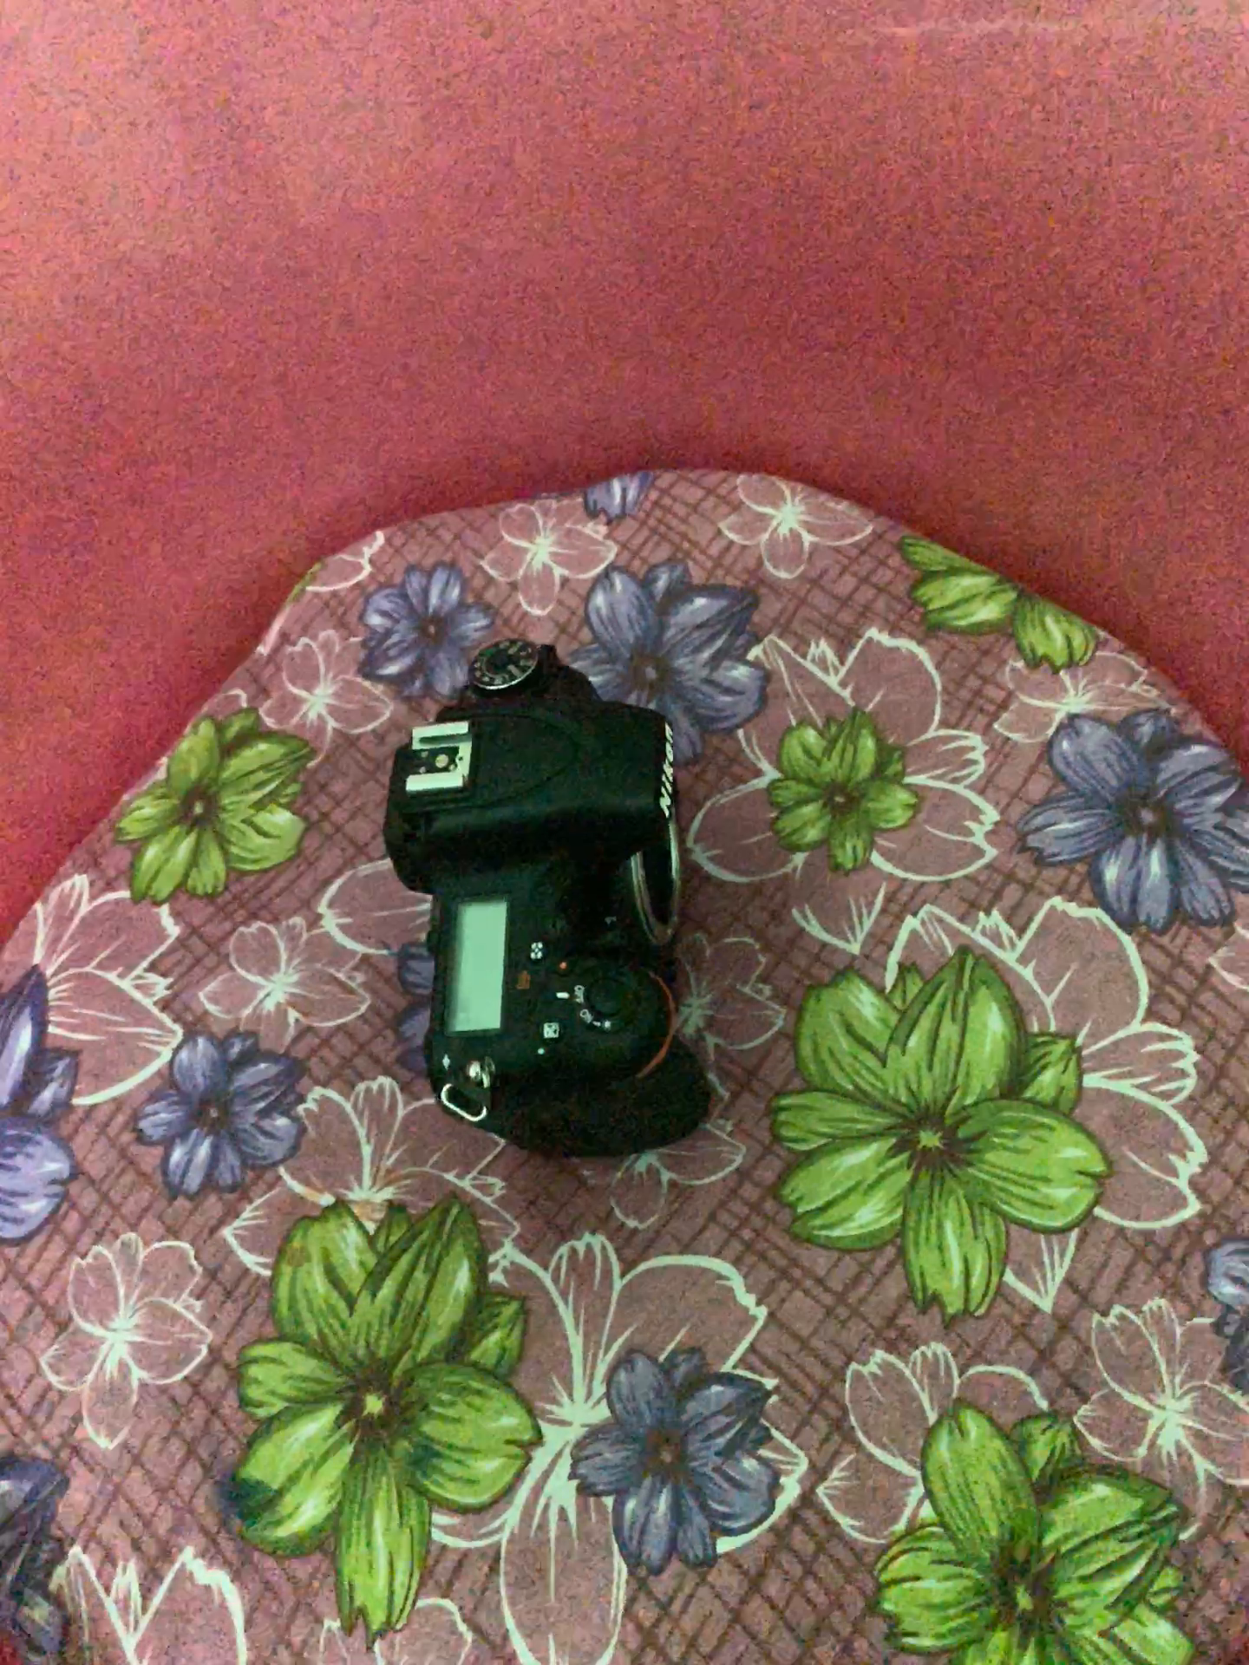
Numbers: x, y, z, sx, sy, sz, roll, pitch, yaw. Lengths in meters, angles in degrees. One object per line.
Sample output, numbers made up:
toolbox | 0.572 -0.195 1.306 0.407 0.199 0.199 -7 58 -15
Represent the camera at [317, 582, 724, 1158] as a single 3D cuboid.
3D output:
camera | -0.021 0.015 0.370 0.092 0.090 0.140 -2 66 7
